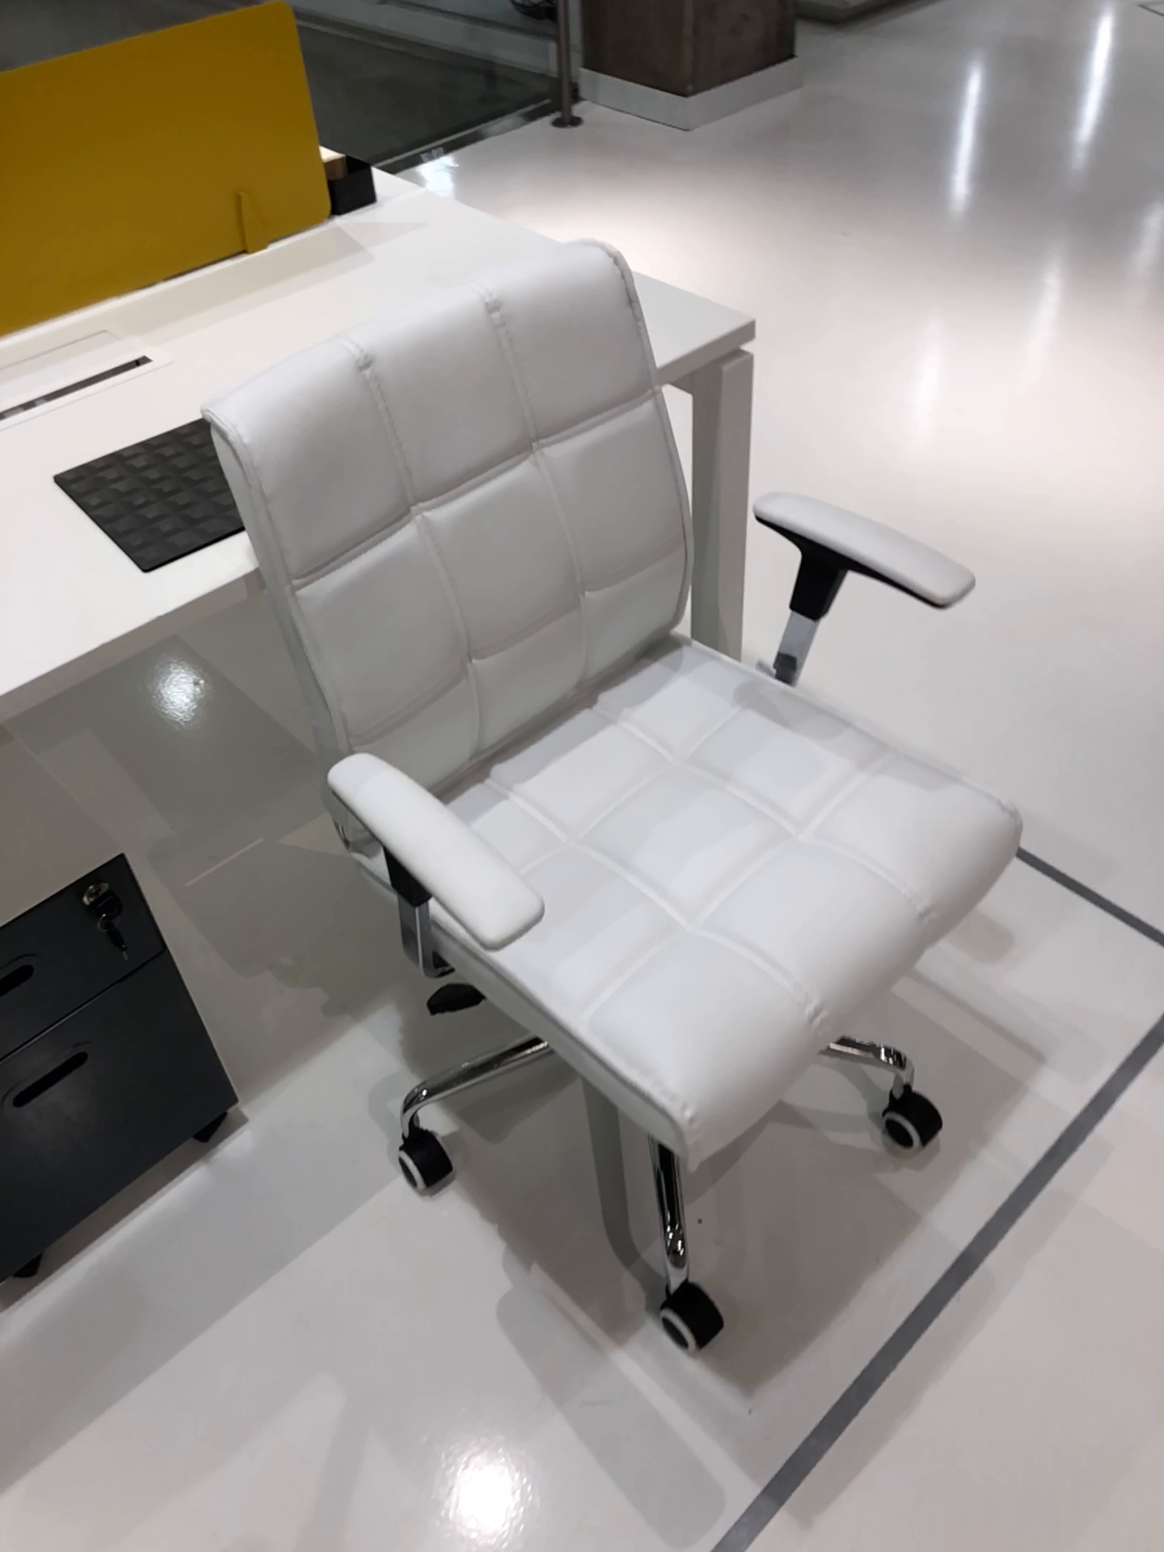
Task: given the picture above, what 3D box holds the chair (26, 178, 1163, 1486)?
[{"bbox_3d":[0.066,0.042,1.239,0.632,0.884,0.653,32,55,32],"label":"chair"}]
